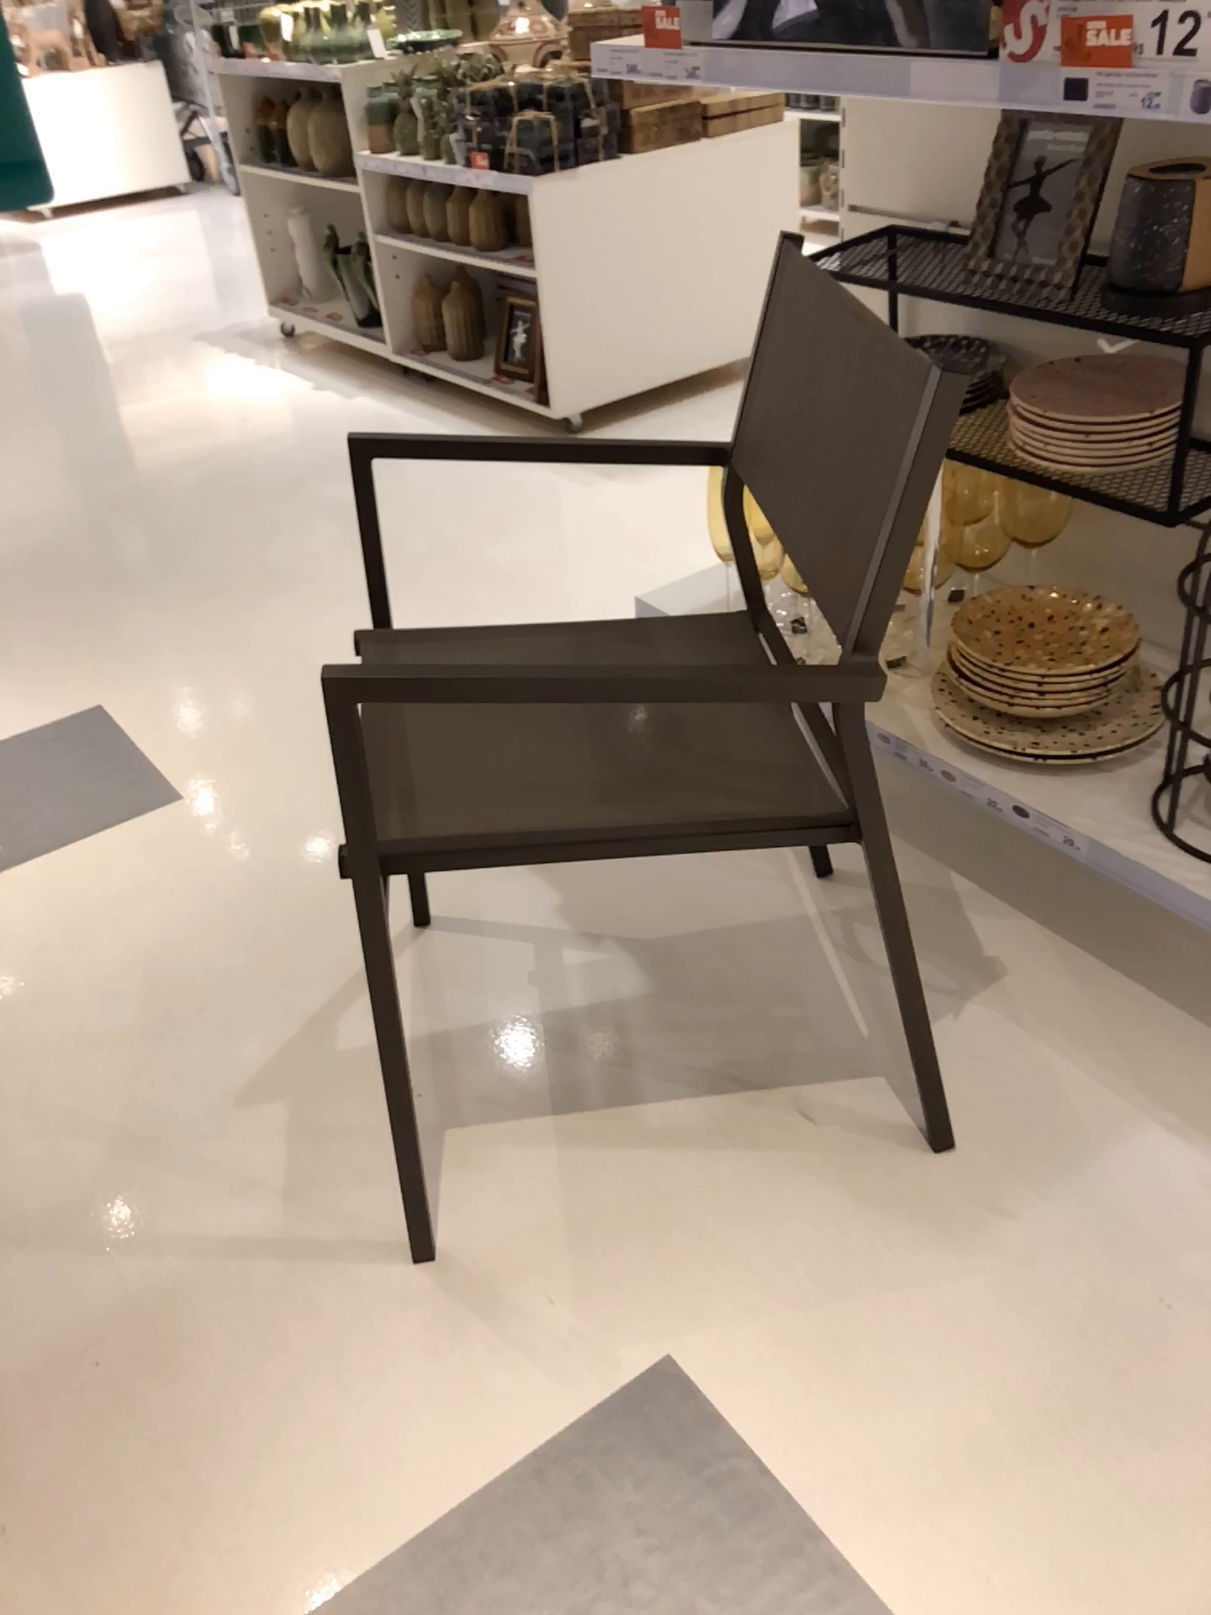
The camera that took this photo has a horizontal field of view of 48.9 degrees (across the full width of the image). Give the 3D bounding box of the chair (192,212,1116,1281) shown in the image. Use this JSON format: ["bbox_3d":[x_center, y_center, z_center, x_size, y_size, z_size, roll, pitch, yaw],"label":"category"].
[{"bbox_3d":[0.038,-0.074,1.276,0.580,0.764,0.574,-8,34,-2],"label":"chair"}]
